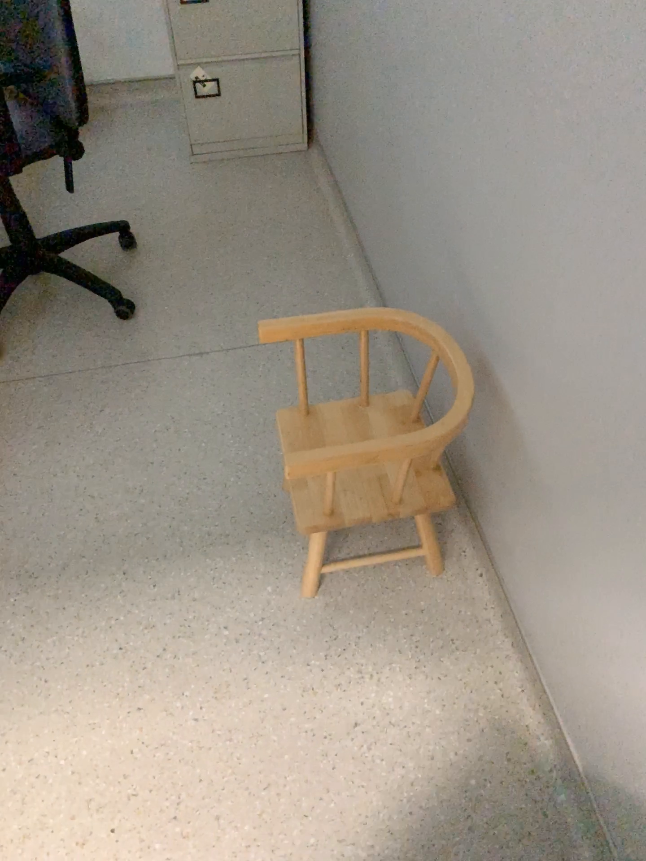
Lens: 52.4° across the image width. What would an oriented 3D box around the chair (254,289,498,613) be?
[{"bbox_3d":[0.076,0.051,1.271,0.342,0.481,0.364,-7,48,-4],"label":"chair"}]
